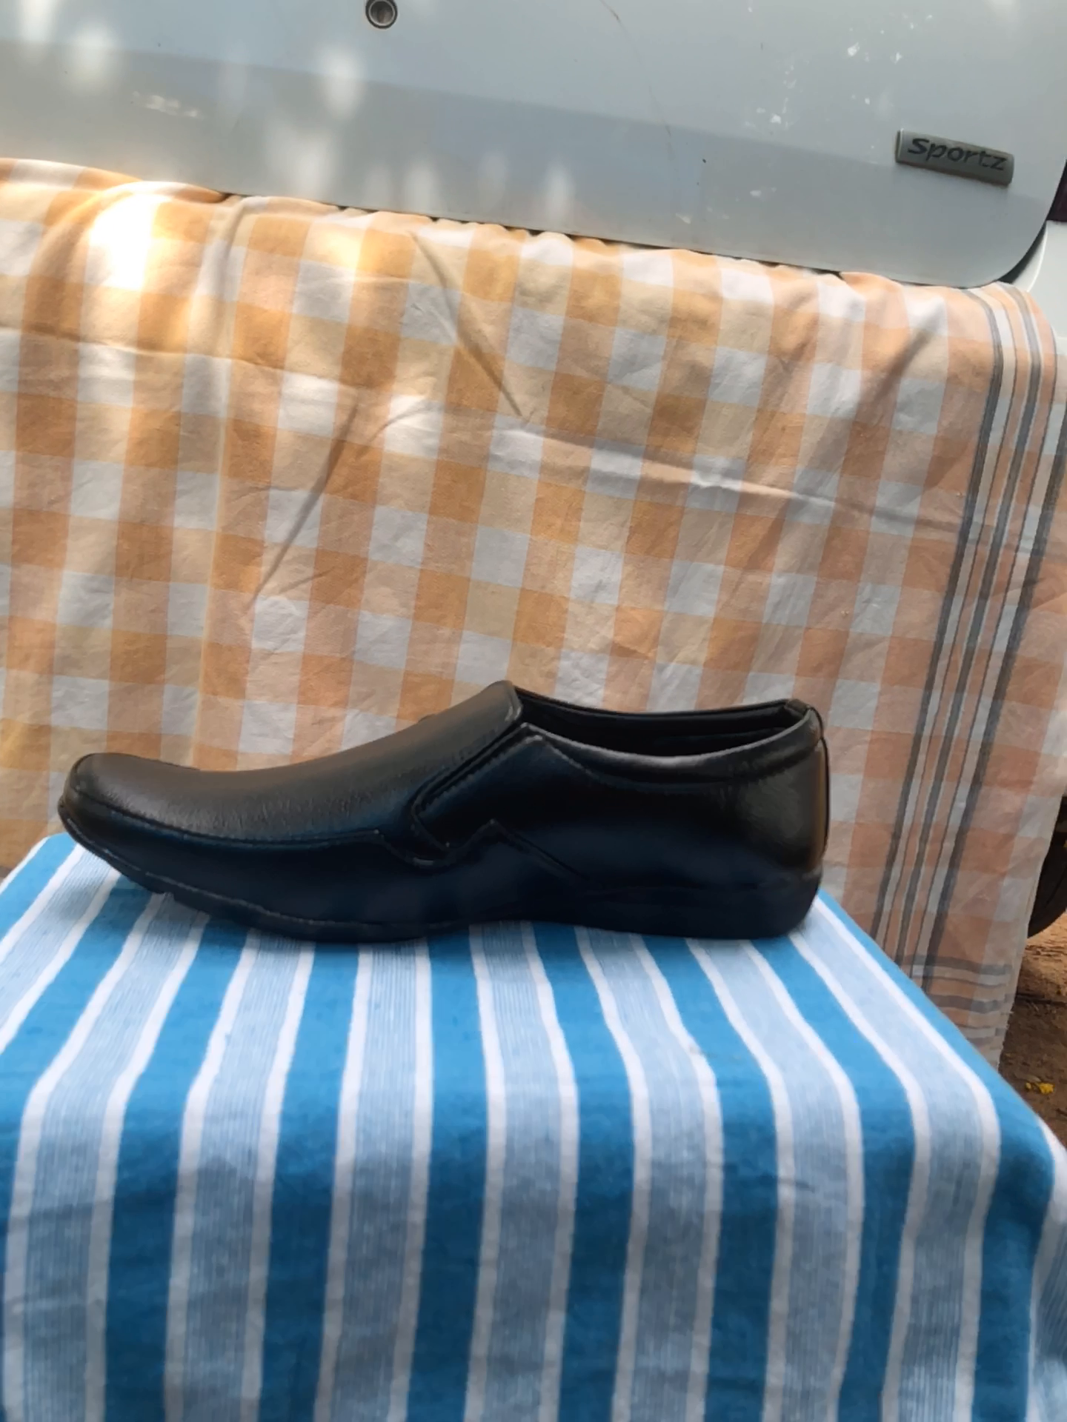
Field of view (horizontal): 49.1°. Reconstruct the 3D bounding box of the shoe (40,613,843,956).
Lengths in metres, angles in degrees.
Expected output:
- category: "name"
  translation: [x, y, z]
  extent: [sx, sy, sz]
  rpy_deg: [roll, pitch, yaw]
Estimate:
- category: "shoe"
  translation: [-0.037, 0.031, 0.494]
  extent: [0.300, 0.110, 0.100]
  rpy_deg: [3, 11, -14]
